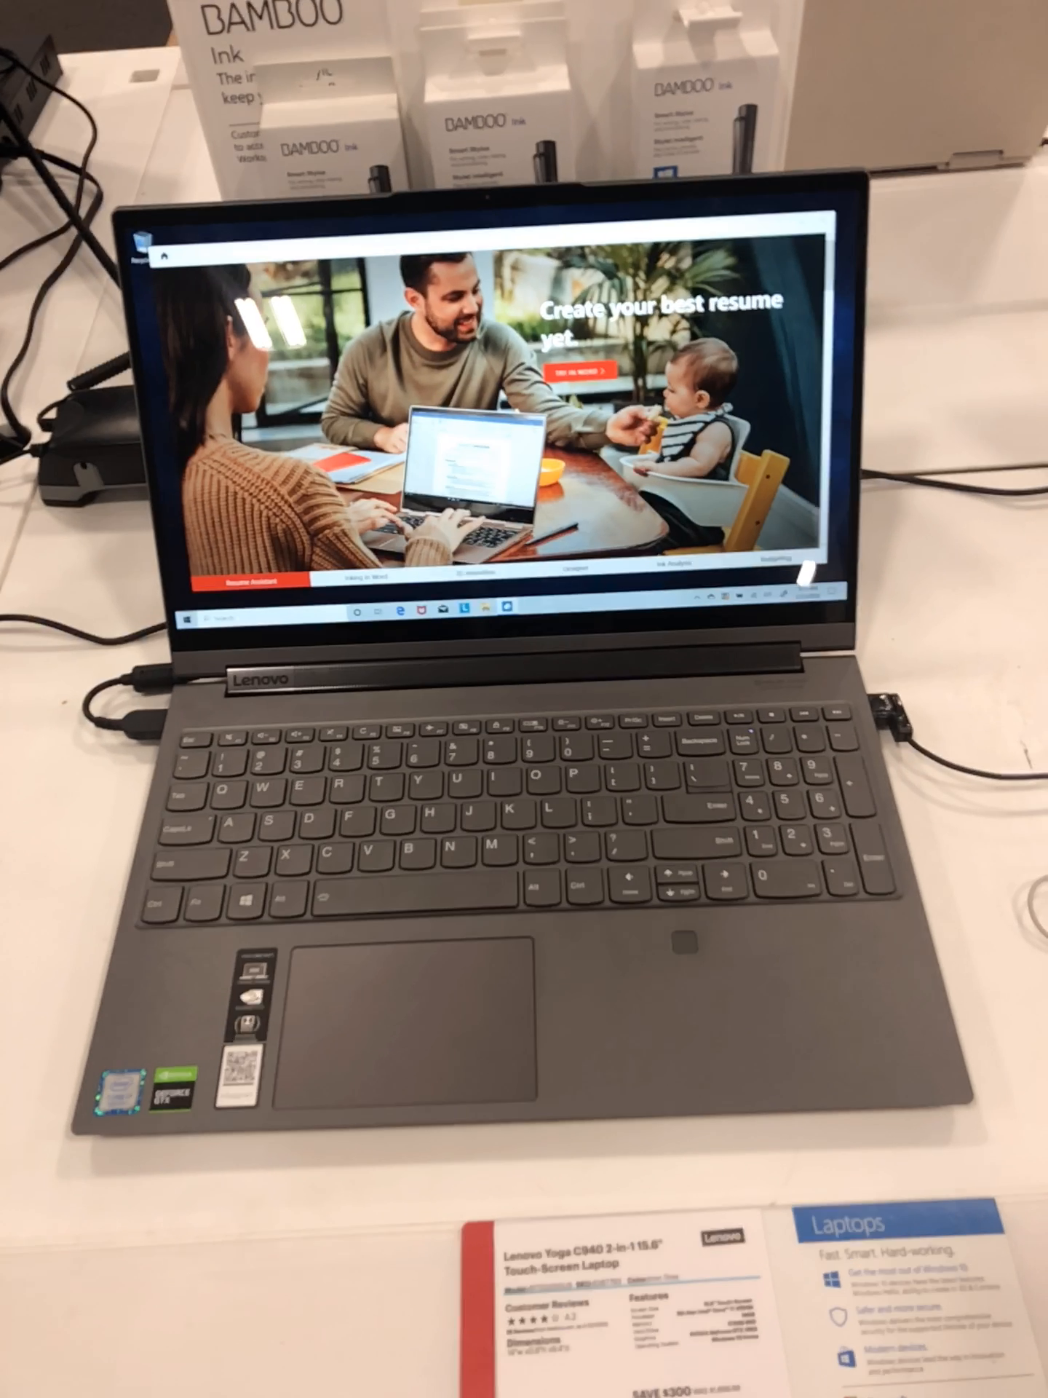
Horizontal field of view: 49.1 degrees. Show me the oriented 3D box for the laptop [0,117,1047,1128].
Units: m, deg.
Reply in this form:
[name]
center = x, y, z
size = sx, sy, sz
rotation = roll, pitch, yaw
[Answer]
[laptop]
center = -0.011, -0.046, 0.493
size = 0.336, 0.169, 0.375
rotation = -3, 57, 1
